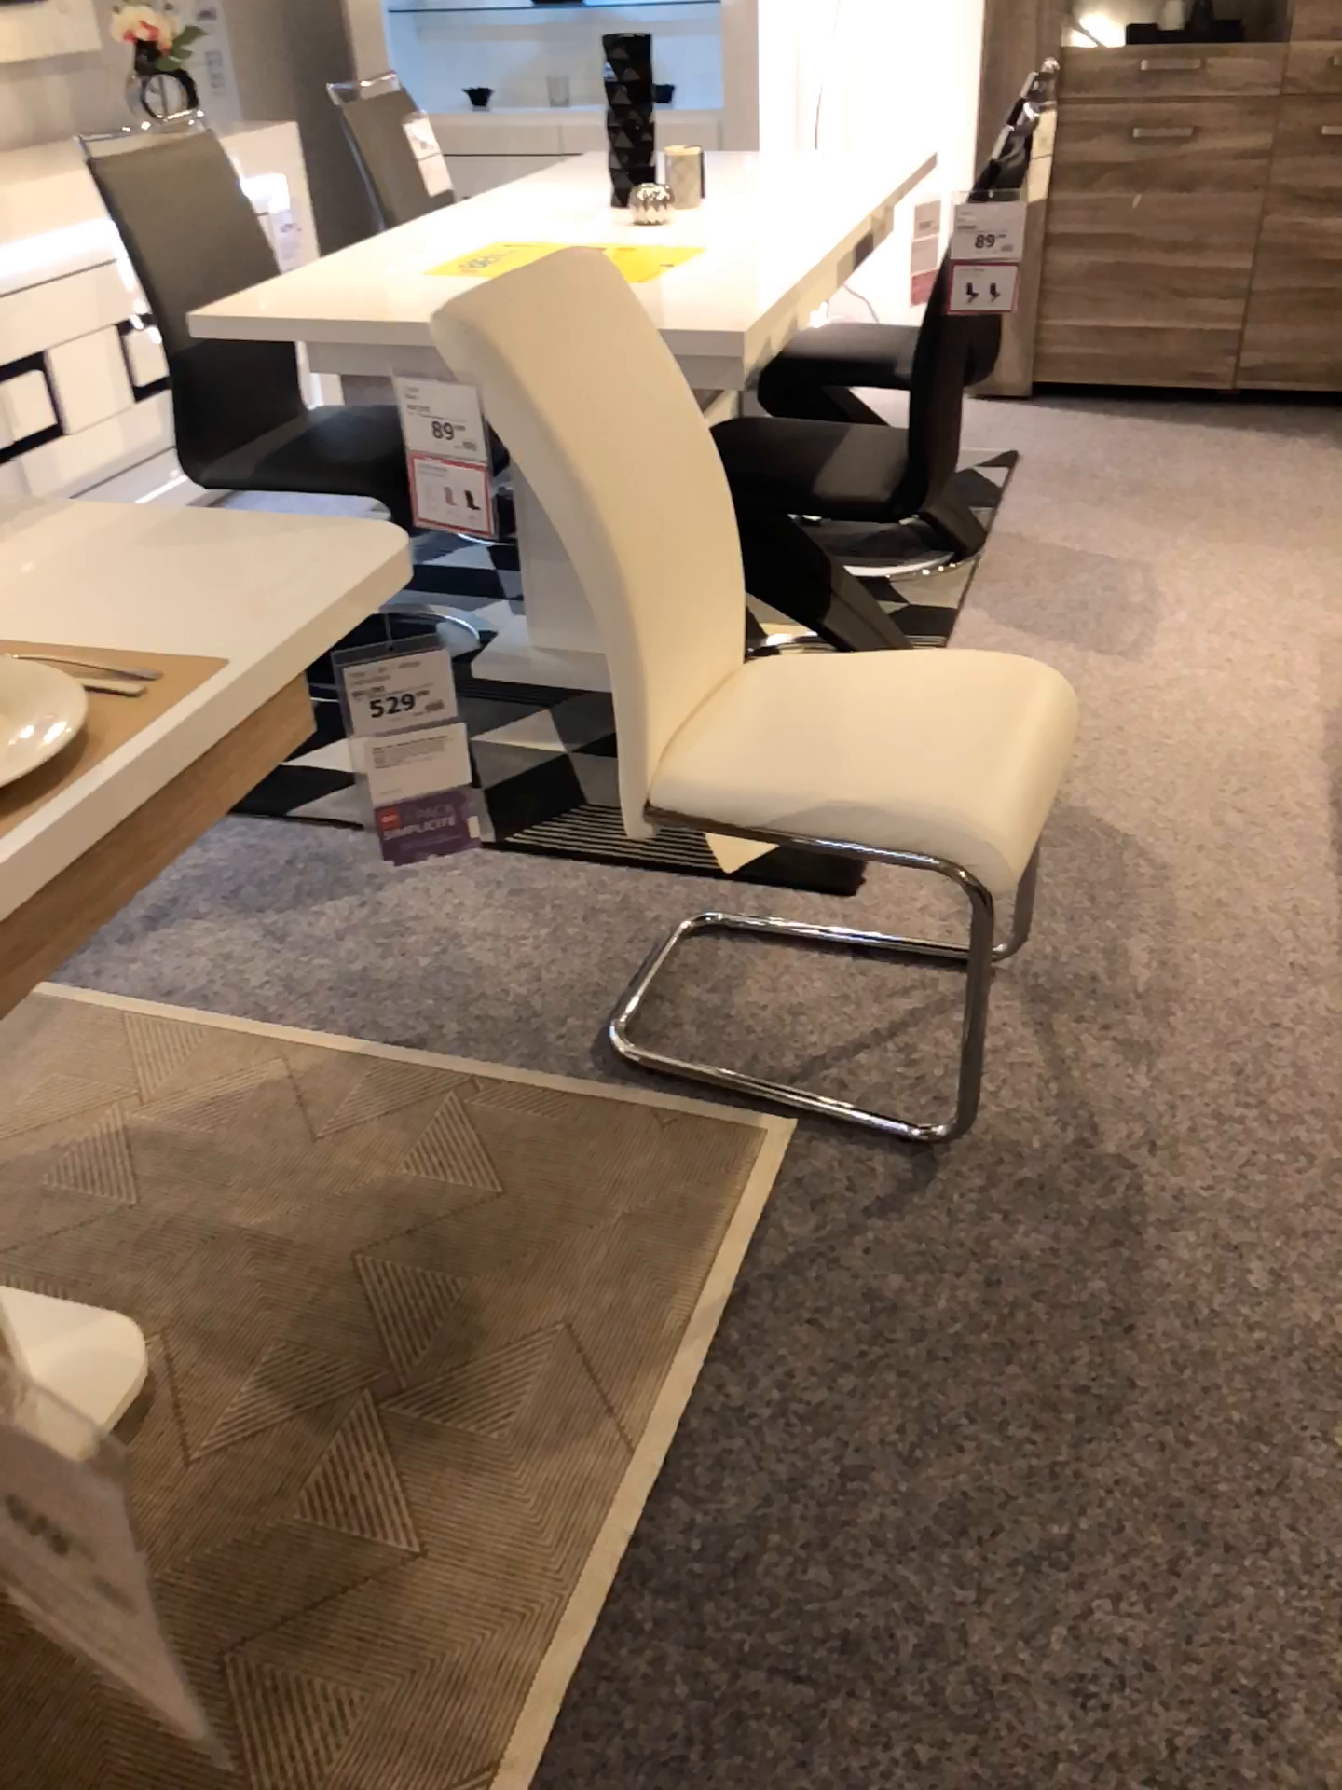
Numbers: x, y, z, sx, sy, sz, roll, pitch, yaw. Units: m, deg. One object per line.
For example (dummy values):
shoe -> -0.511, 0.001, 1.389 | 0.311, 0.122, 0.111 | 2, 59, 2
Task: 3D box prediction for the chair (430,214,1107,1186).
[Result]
chair -> 0.144, -0.232, 1.670 | 0.549, 0.924, 0.504 | 8, 34, 16
